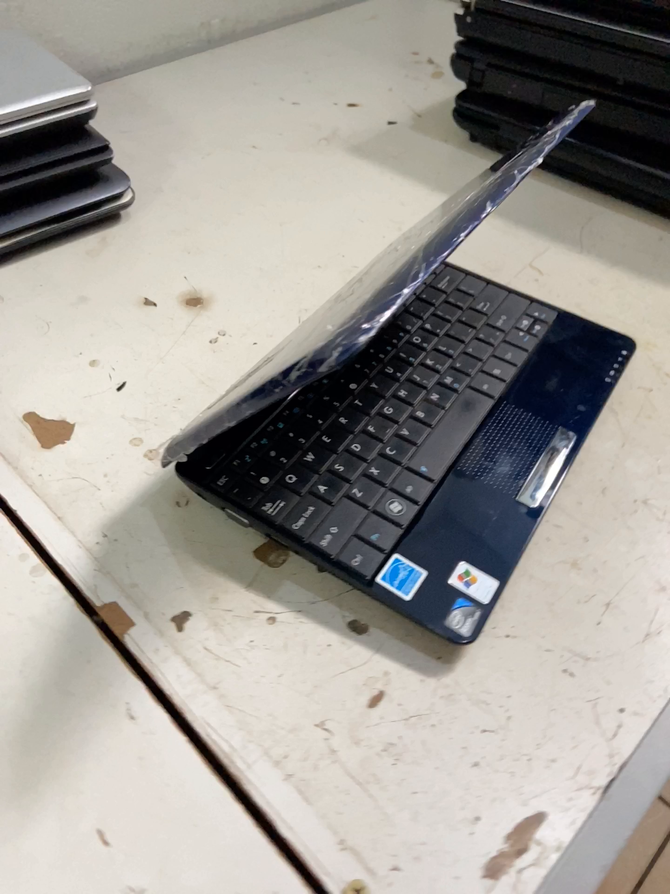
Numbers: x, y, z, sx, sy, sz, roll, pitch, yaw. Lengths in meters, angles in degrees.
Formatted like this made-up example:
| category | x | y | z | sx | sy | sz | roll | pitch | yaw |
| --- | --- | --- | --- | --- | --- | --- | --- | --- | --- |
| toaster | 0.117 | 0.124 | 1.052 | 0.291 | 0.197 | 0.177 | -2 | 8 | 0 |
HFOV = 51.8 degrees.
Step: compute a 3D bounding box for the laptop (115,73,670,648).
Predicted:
| category | x | y | z | sx | sy | sz | roll | pitch | yaw |
| --- | --- | --- | --- | --- | --- | --- | --- | --- | --- |
| laptop | 0.055 | -0.070 | 0.364 | 0.169 | 0.121 | 0.260 | 27 | 51 | 19 |
